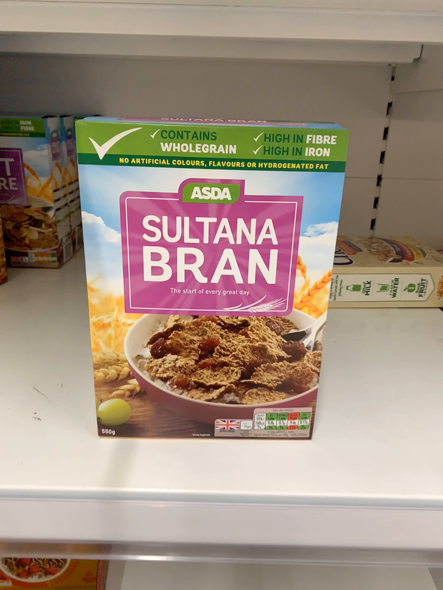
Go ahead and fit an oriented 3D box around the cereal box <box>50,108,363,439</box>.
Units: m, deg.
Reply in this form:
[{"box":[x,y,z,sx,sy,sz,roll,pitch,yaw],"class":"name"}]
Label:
[{"box":[-0.013,-0.011,0.388,0.210,0.268,0.071,1,21,-1],"class":"cereal box"}]
